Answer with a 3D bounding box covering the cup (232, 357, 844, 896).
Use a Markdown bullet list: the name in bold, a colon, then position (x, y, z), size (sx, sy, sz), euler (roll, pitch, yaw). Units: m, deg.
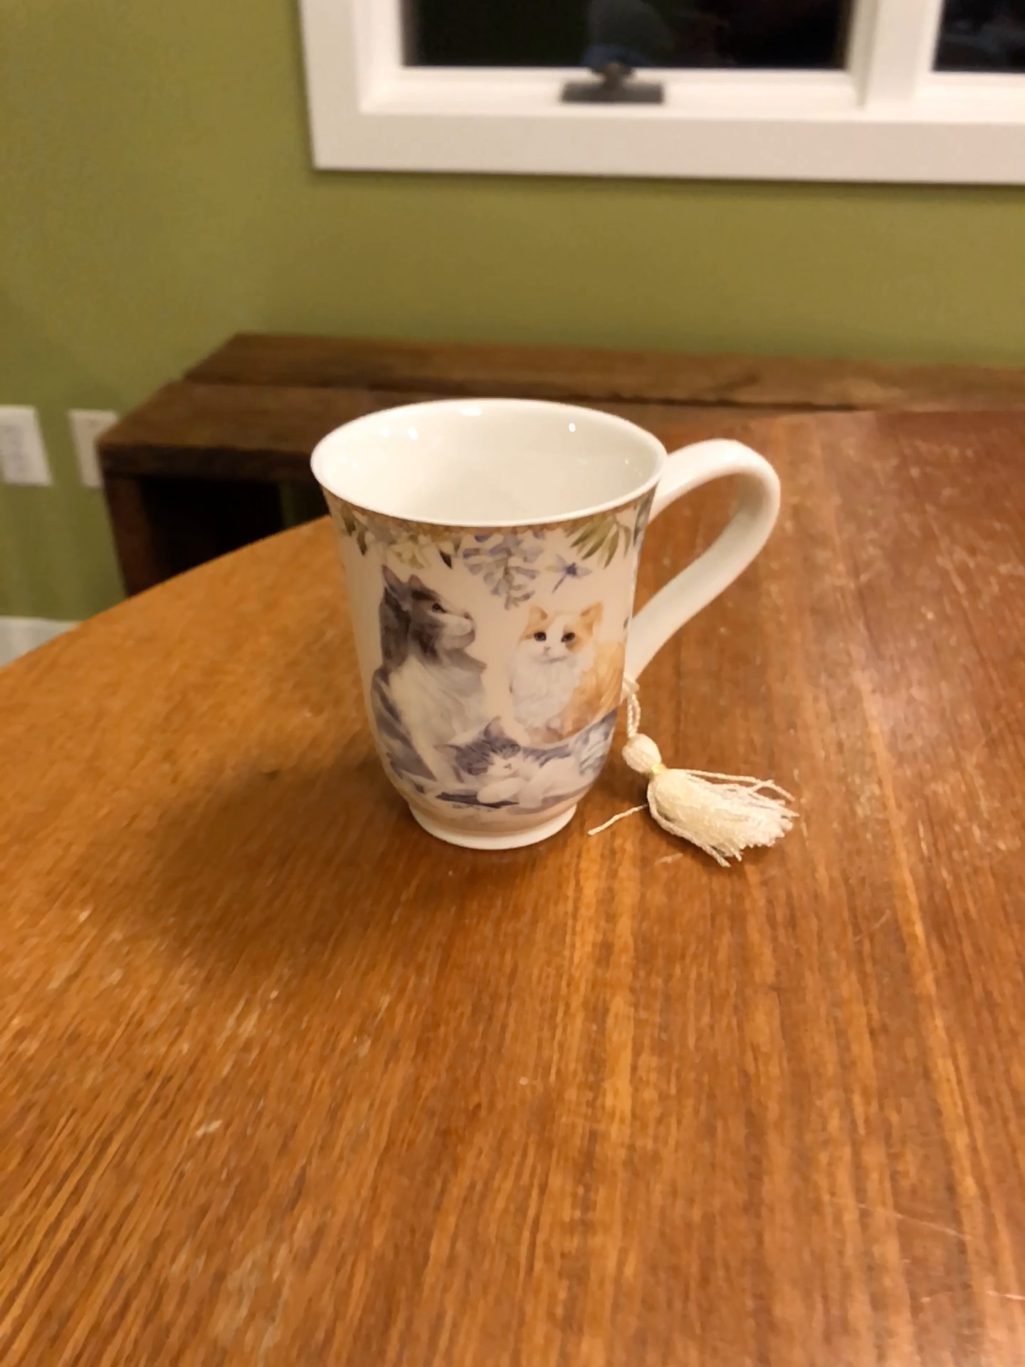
- **cup**: position (0.007, -0.027, 0.331), size (0.136, 0.092, 0.095), euler (-20, 37, -30)
